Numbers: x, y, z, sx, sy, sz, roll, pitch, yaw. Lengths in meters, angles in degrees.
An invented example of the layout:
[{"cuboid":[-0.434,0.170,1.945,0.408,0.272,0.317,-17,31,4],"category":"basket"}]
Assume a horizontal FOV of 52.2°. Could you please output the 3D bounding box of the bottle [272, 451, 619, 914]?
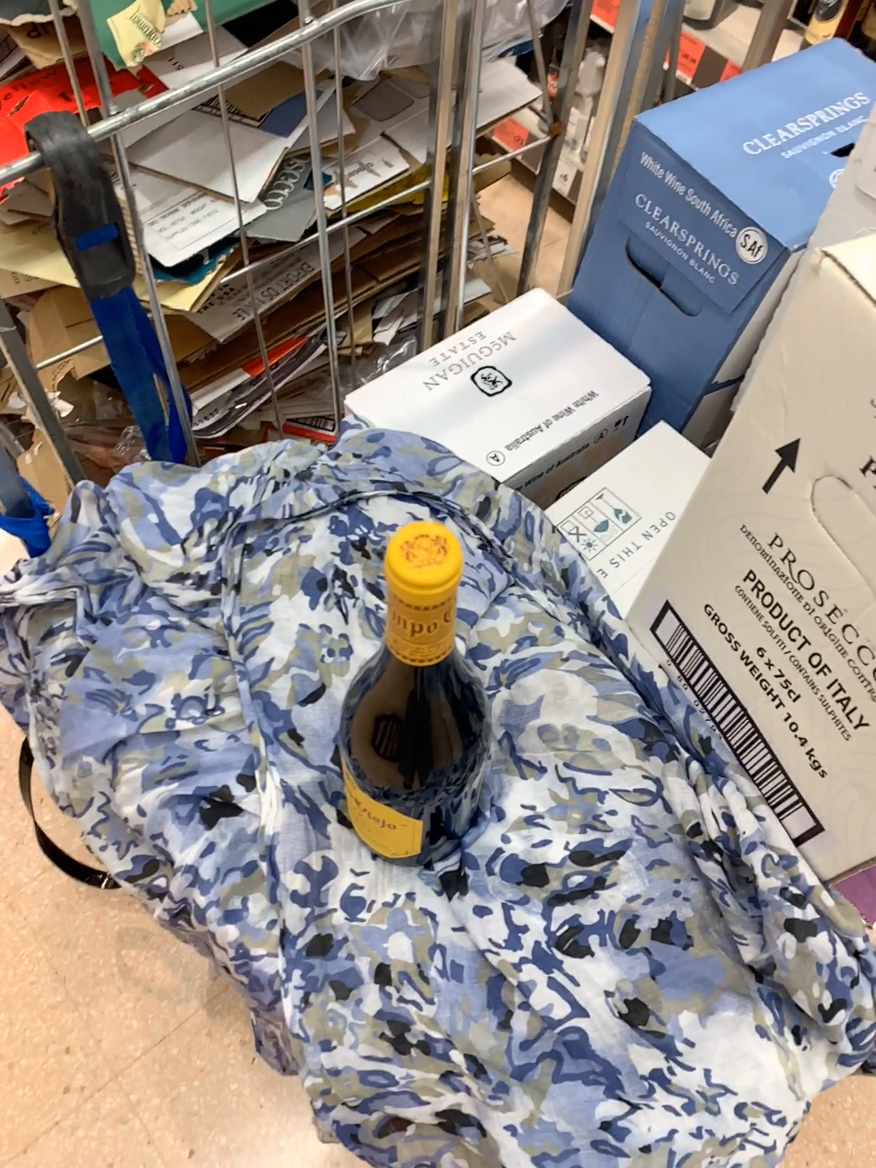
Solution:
[{"cuboid":[-0.009,0.070,0.435,0.090,0.270,0.090,2,59,-4],"category":"bottle"}]
